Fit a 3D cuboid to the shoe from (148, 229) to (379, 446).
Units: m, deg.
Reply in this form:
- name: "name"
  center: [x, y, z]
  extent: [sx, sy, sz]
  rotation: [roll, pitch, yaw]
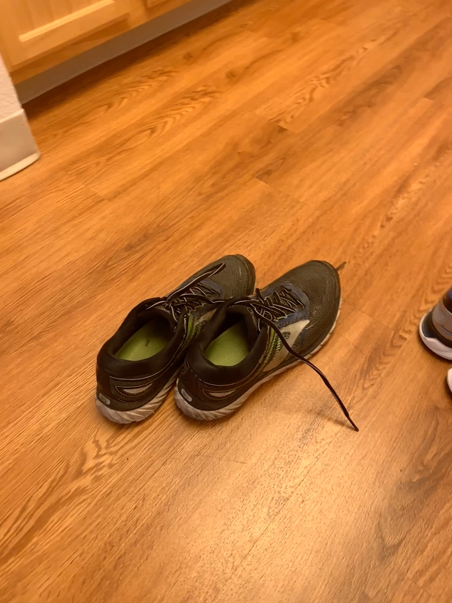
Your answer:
- name: "shoe"
  center: [0.058, 0.042, 0.642]
  extent: [0.310, 0.119, 0.100]
  rotation: [-35, 60, -22]

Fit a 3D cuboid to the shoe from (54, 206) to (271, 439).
- name: "shoe"
  center: [-0.068, 0.018, 0.646]
  extent: [0.100, 0.119, 0.311]
  rotation: [30, 60, 22]
